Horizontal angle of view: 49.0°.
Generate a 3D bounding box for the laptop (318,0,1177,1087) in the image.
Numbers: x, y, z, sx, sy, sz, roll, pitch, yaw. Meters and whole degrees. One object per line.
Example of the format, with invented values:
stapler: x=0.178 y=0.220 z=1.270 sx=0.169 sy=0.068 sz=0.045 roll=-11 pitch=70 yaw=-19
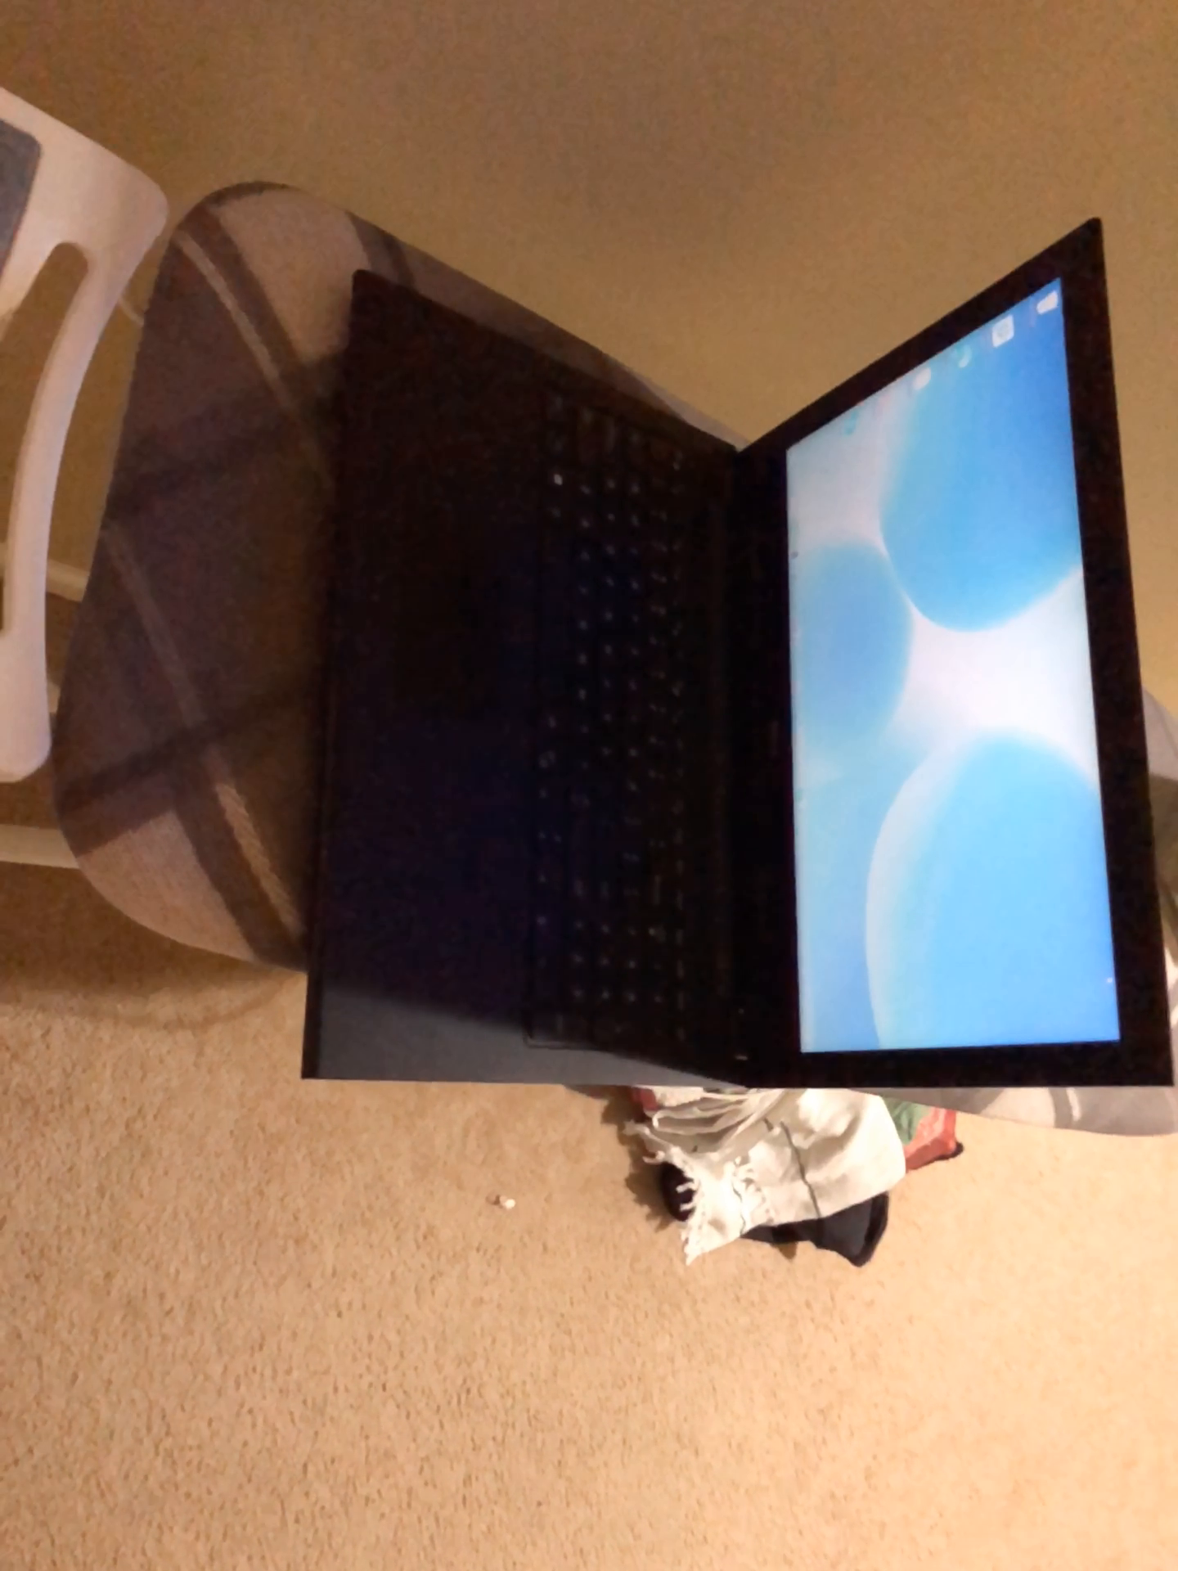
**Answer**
laptop: x=0.066 y=-0.059 z=0.537 sx=0.248 sy=0.231 sz=0.352 roll=12 pitch=73 yaw=-38
